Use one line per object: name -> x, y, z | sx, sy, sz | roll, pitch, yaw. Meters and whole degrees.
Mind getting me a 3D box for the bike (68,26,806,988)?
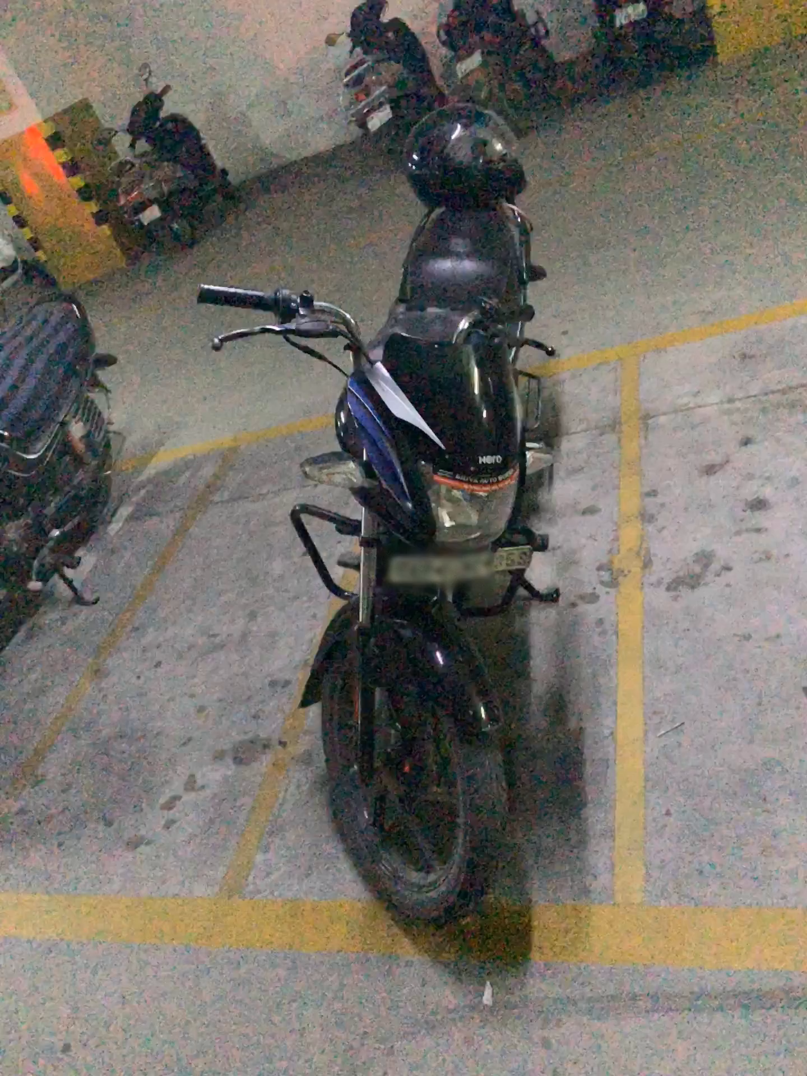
bike -> 0.194, -0.184, 1.858 | 0.768, 1.156, 1.724 | -13, 38, 18
